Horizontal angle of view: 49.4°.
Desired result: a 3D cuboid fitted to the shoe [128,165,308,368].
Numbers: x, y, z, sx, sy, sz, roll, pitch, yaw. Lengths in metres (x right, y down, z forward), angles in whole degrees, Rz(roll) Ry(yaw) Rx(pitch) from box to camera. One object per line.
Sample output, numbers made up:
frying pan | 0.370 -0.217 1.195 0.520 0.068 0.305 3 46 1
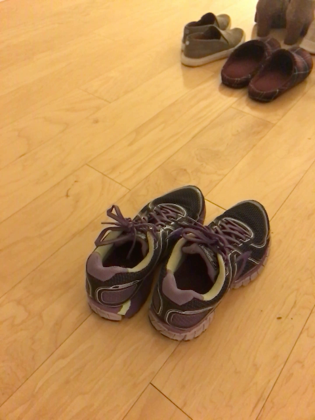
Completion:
shoe | 0.099 0.062 0.511 0.120 0.079 0.292 30 54 24

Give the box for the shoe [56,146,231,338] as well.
shoe | -0.004 0.032 0.541 0.110 0.099 0.292 26 53 22
